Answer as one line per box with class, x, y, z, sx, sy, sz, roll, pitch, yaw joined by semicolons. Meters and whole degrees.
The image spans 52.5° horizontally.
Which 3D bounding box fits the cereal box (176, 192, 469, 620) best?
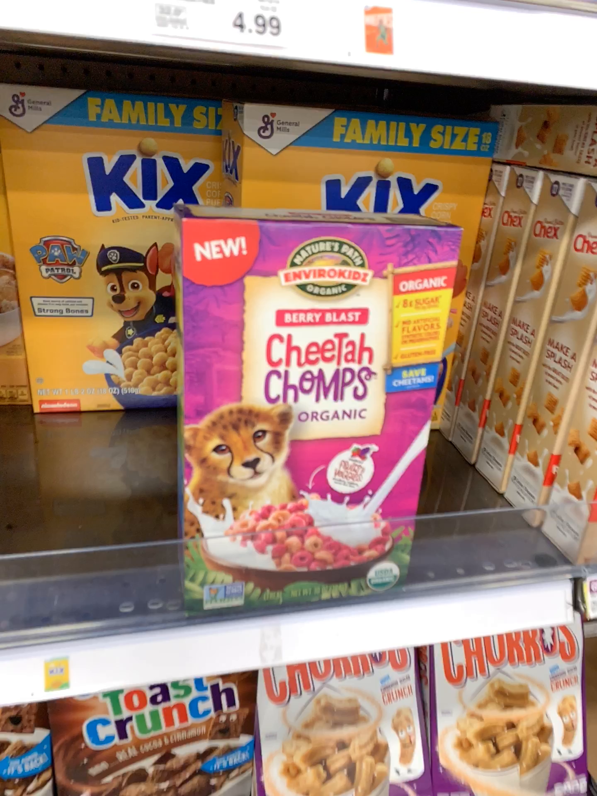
cereal box;0.003;0.011;0.402;0.160;0.269;0.060;-2;23;-13
